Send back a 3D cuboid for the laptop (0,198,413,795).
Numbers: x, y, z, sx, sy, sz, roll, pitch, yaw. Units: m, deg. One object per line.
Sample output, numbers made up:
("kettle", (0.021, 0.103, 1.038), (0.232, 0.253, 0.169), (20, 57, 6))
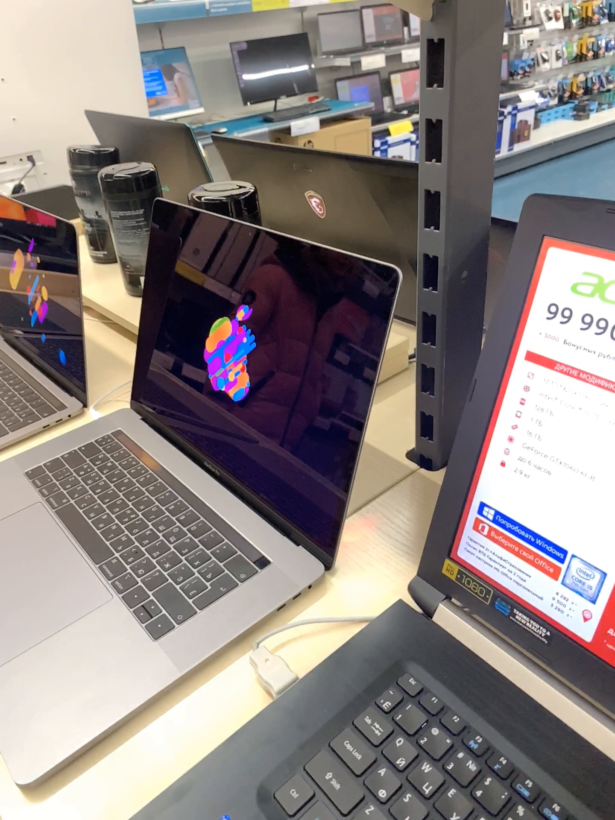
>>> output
("laptop", (-0.156, 0.001, 0.505), (0.325, 0.210, 0.346), (-28, 38, -30))
